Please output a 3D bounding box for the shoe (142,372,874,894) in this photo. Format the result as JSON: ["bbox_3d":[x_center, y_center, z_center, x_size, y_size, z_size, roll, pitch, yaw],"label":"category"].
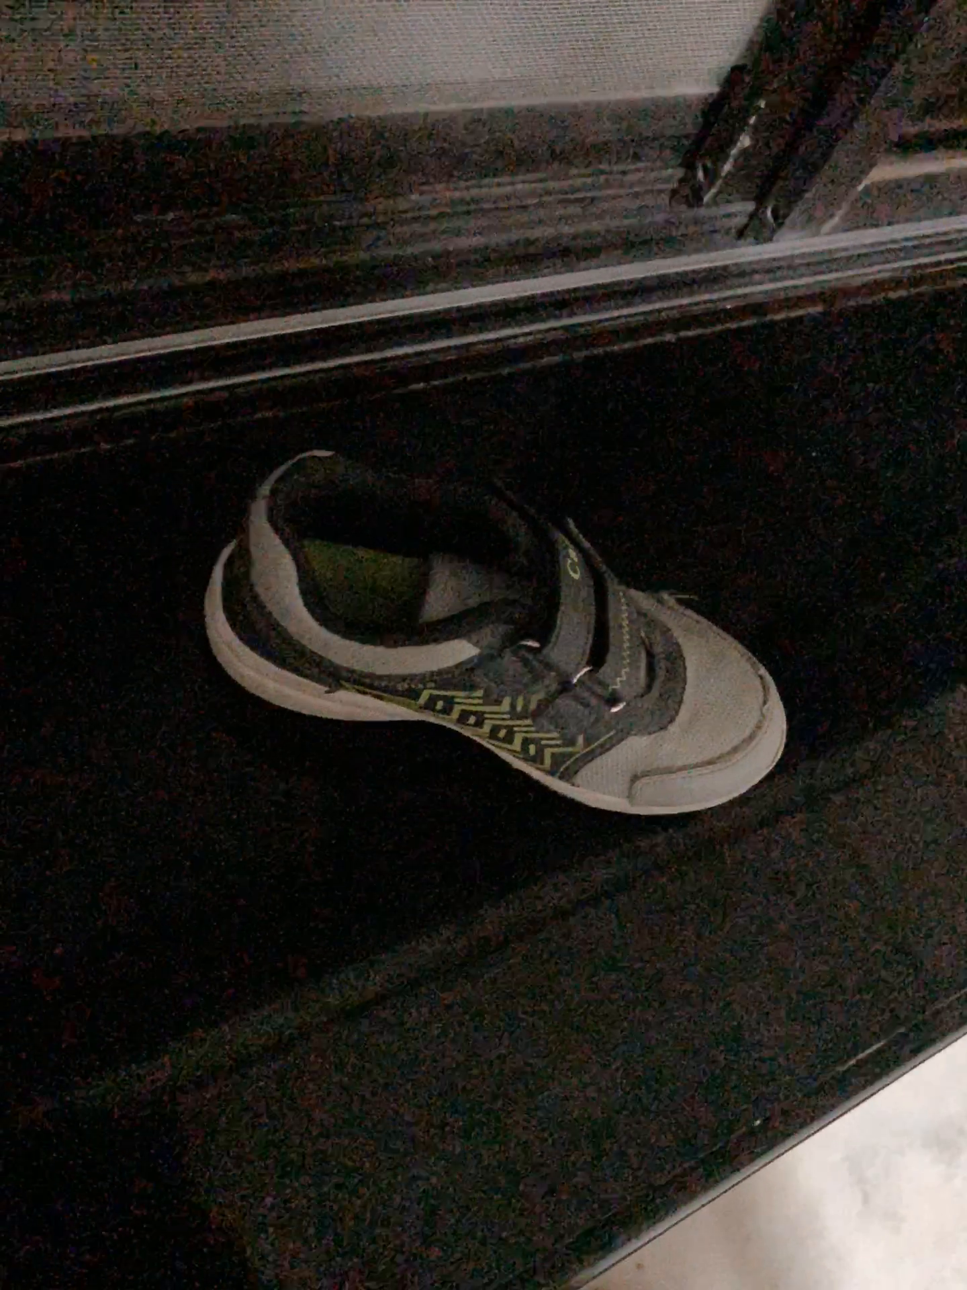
[{"bbox_3d":[0.011,0.003,0.353,0.230,0.080,0.090,19,61,-8],"label":"shoe"}]
